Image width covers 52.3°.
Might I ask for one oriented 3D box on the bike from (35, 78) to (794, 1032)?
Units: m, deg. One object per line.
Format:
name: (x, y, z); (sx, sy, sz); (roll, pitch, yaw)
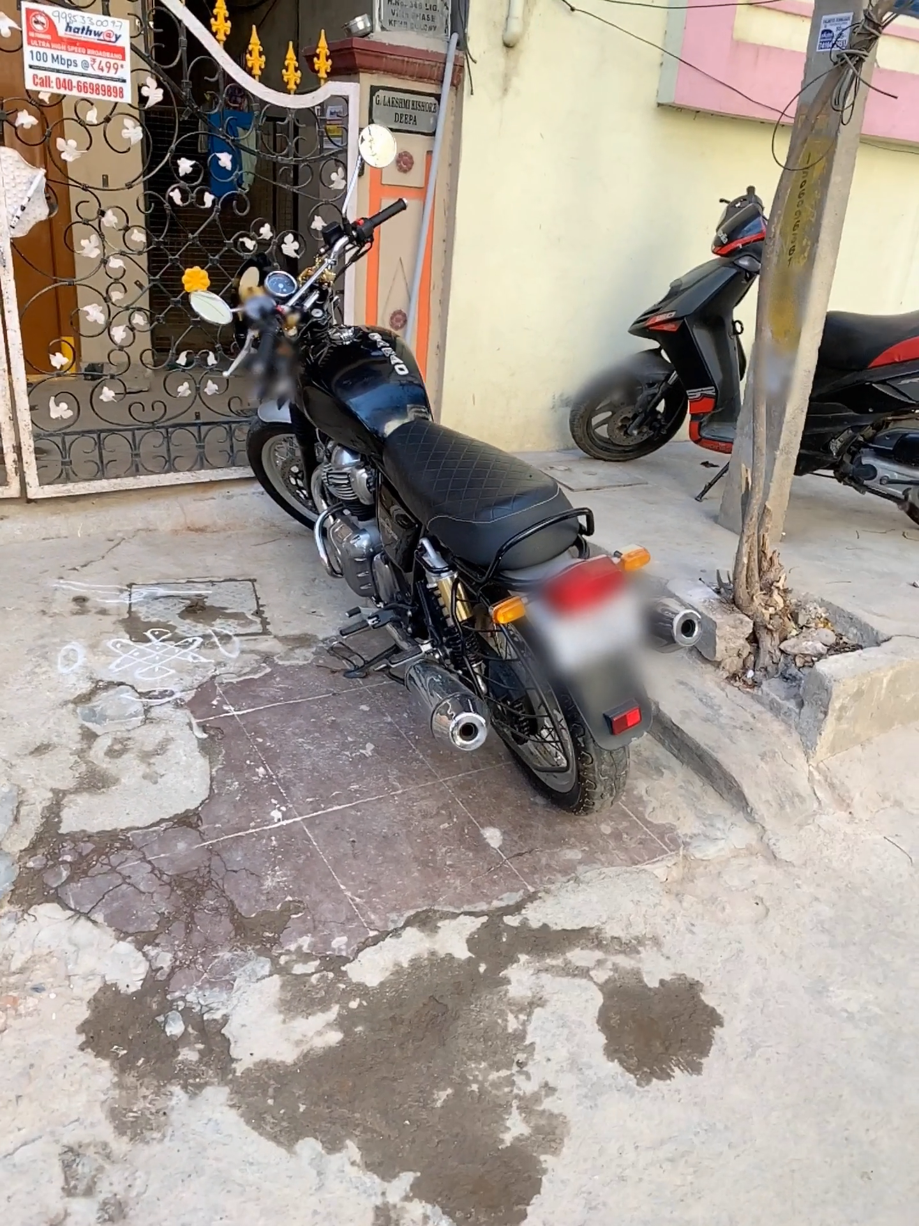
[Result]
bike: (-0.336, -0.370, 2.428); (0.792, 1.522, 1.910); (-12, 33, -34)
